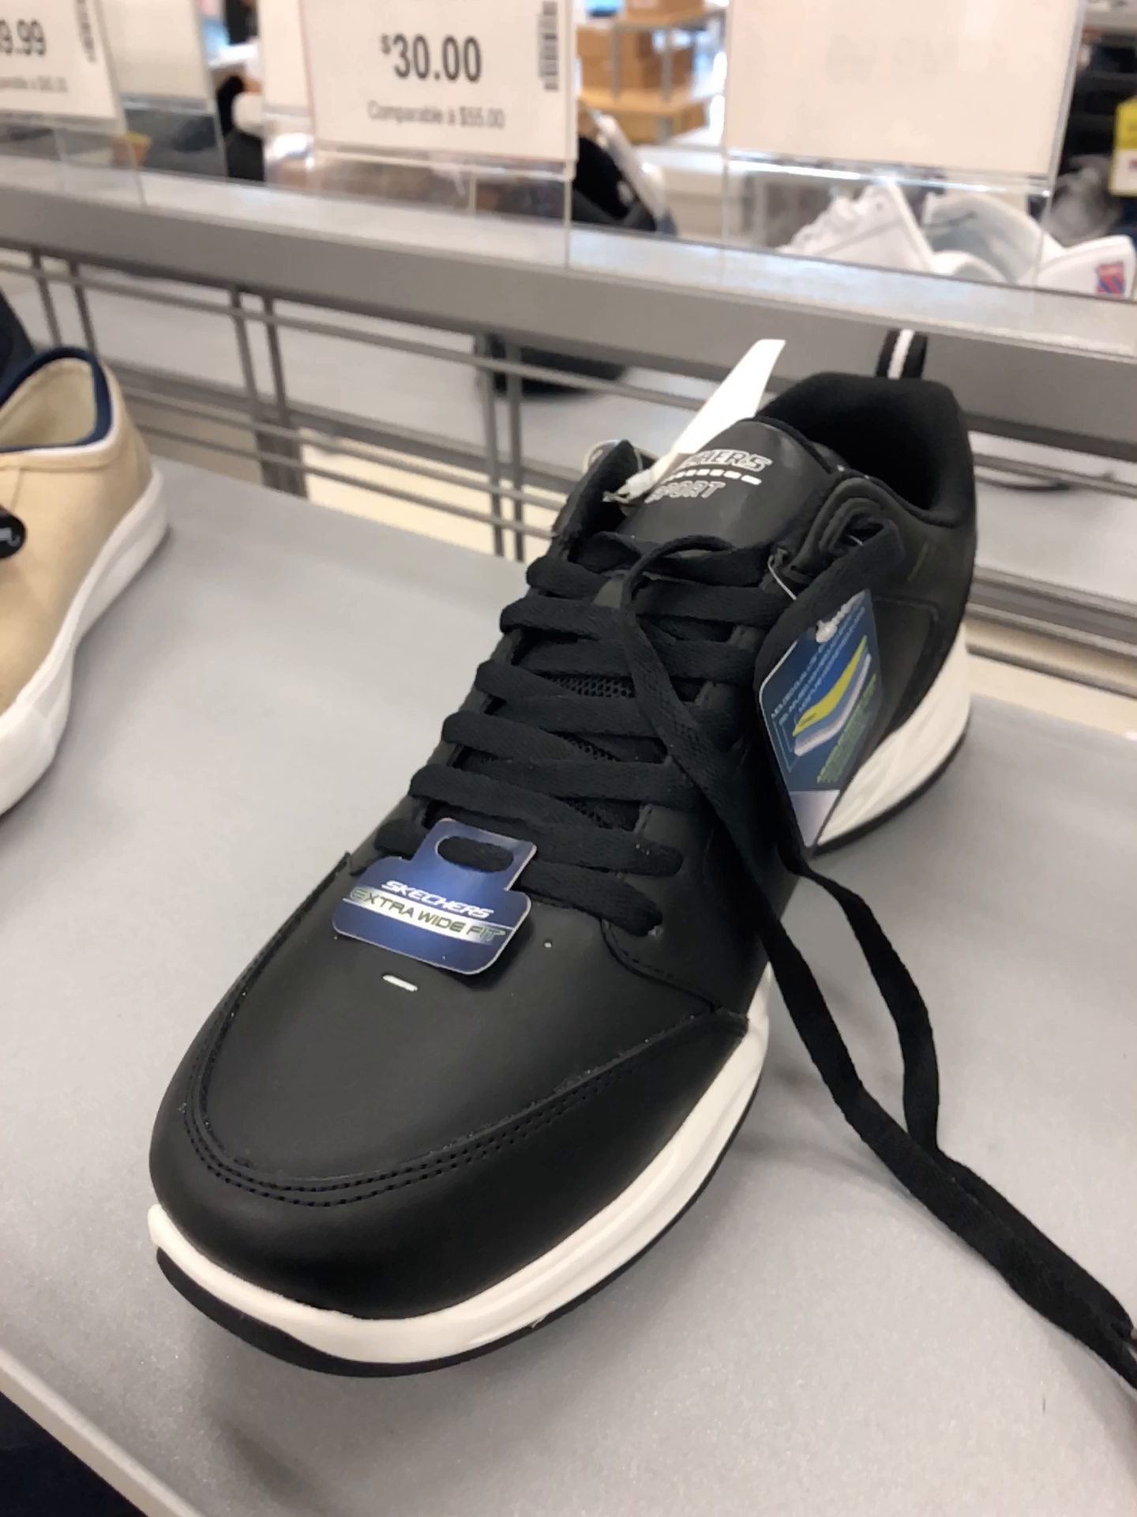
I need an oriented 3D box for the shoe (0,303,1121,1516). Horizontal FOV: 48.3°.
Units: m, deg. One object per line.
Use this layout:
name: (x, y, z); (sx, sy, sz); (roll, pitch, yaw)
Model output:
shoe: (0.024, -0.013, 0.341); (0.130, 0.109, 0.352); (20, 41, 27)
